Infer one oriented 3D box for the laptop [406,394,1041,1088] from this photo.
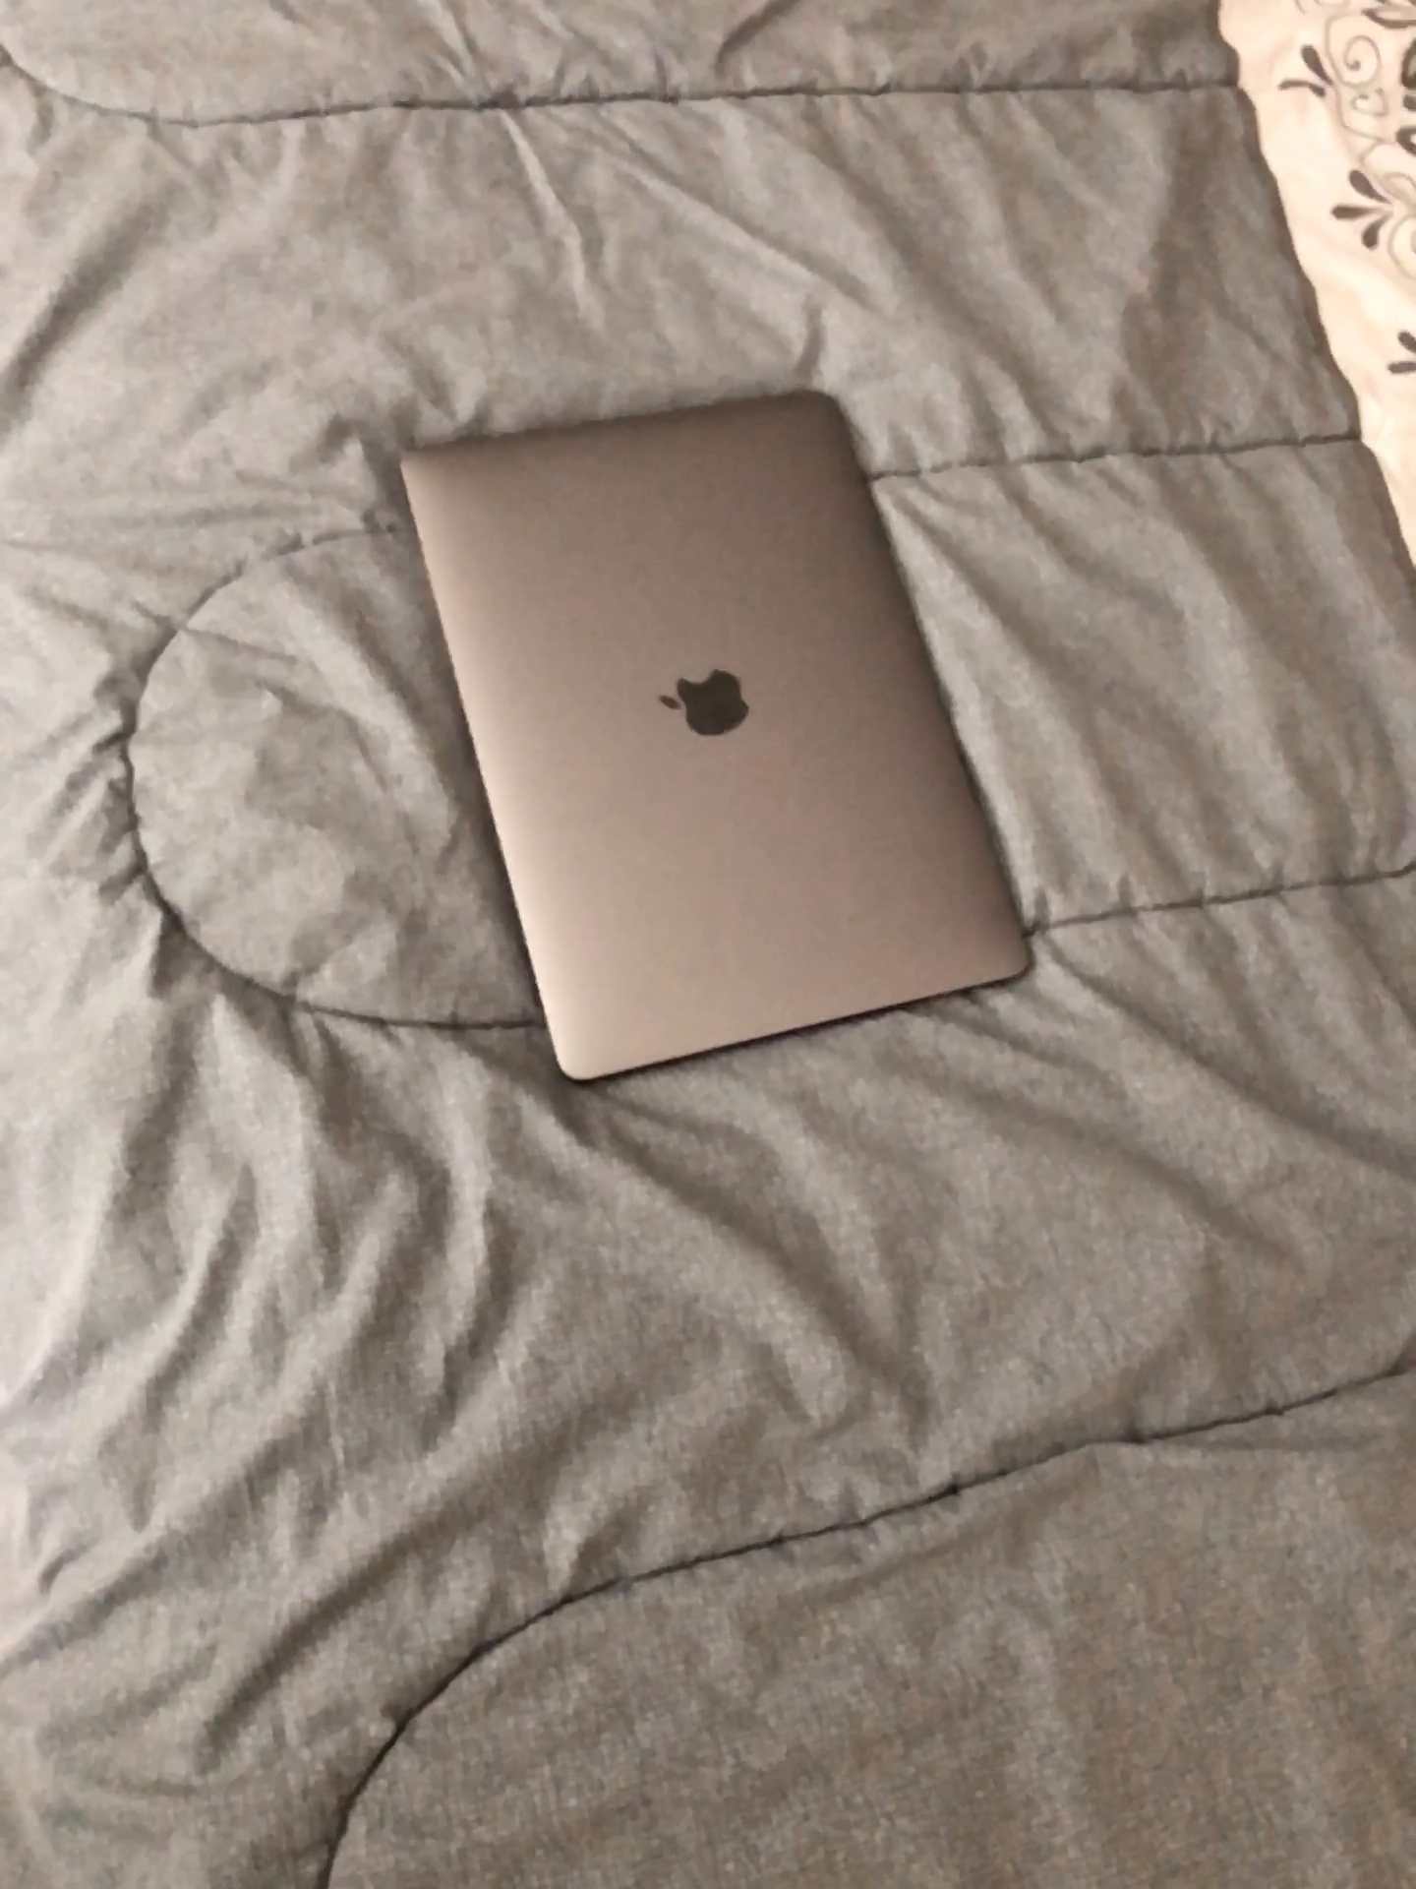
[{"bbox_3d":[0.003,-0.102,0.699,0.207,0.008,0.295,-13,74,-12],"label":"laptop"}]
